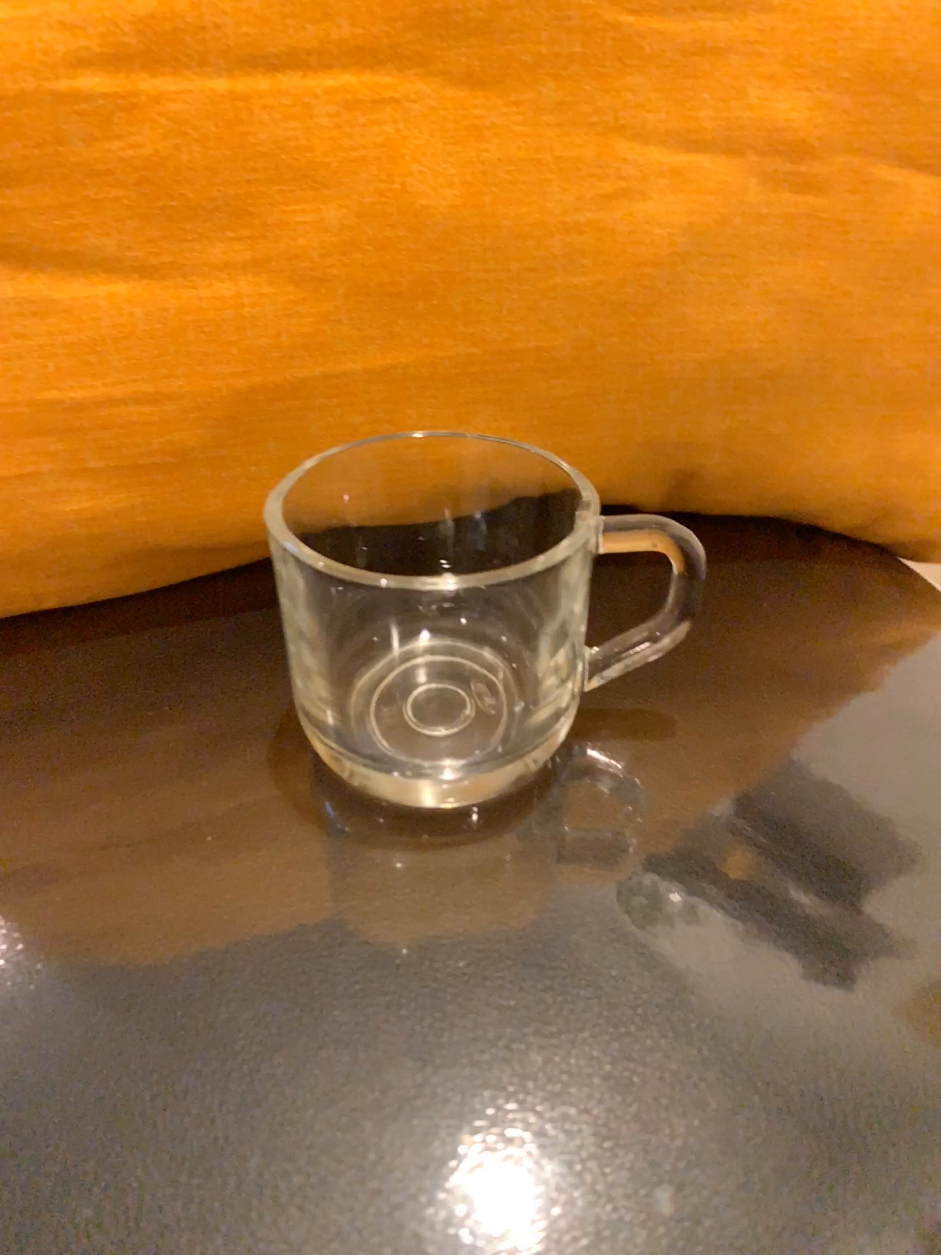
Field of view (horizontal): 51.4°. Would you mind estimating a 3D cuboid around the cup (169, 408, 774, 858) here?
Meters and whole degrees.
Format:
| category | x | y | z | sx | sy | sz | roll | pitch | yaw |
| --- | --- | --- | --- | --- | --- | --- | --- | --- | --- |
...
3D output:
| category | x | y | z | sx | sy | sz | roll | pitch | yaw |
| --- | --- | --- | --- | --- | --- | --- | --- | --- | --- |
| cup | -0.003 | -0.003 | 0.206 | 0.100 | 0.059 | 0.071 | -3 | 35 | -6 |
